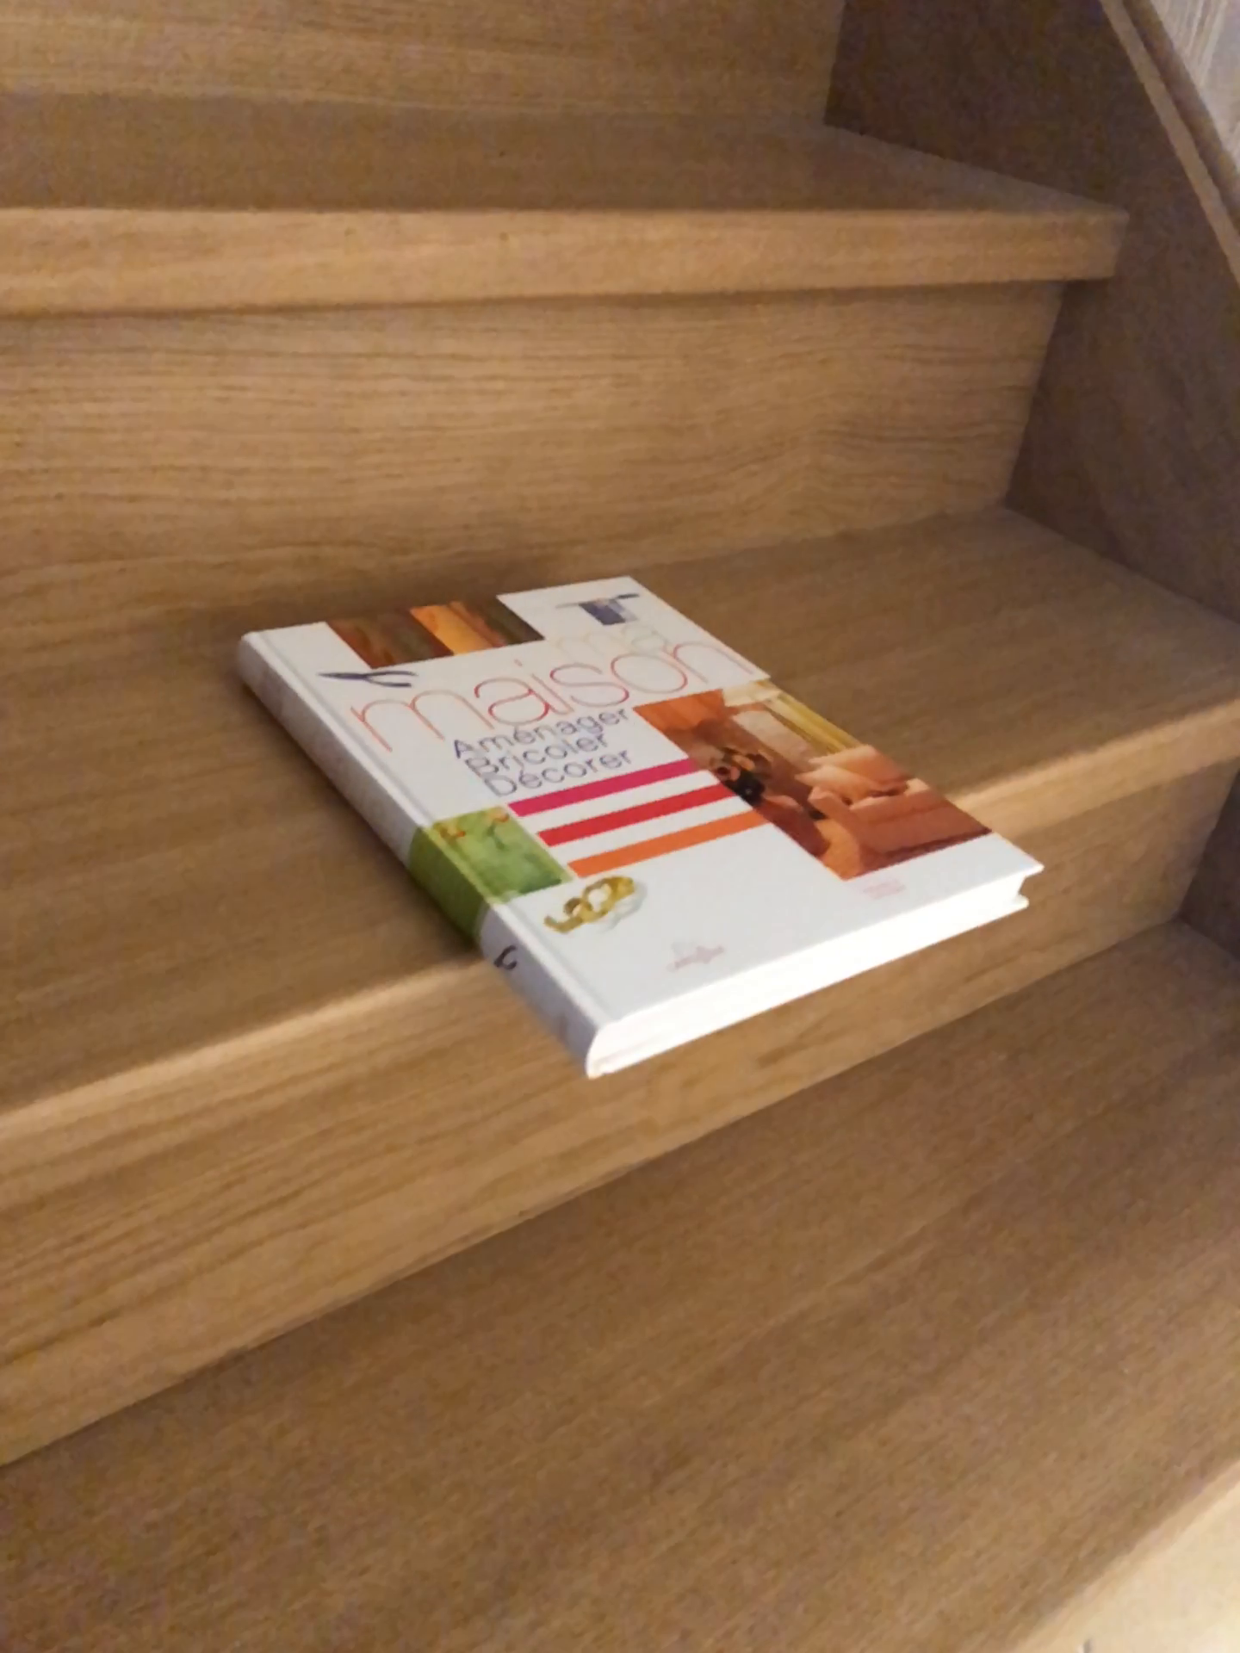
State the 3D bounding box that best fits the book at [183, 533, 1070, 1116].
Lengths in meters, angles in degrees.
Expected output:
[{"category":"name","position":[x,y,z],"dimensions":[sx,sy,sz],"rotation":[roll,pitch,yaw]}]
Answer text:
[{"category":"book","position":[-0.013,-0.033,0.542],"dimensions":[0.211,0.030,0.310],"rotation":[-16,41,-33]}]
